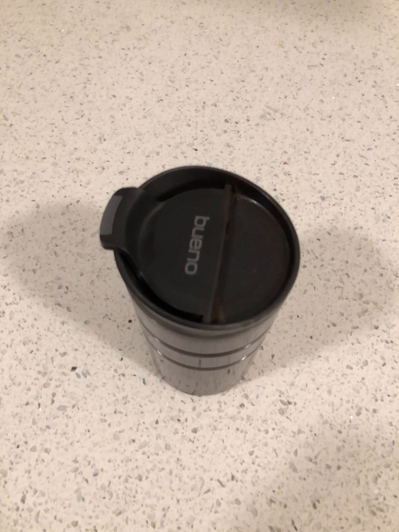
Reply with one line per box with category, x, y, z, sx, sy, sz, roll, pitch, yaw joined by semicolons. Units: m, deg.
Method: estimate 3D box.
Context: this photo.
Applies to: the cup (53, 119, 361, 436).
cup;0.003;0.014;0.223;0.085;0.116;0.086;0;61;0
